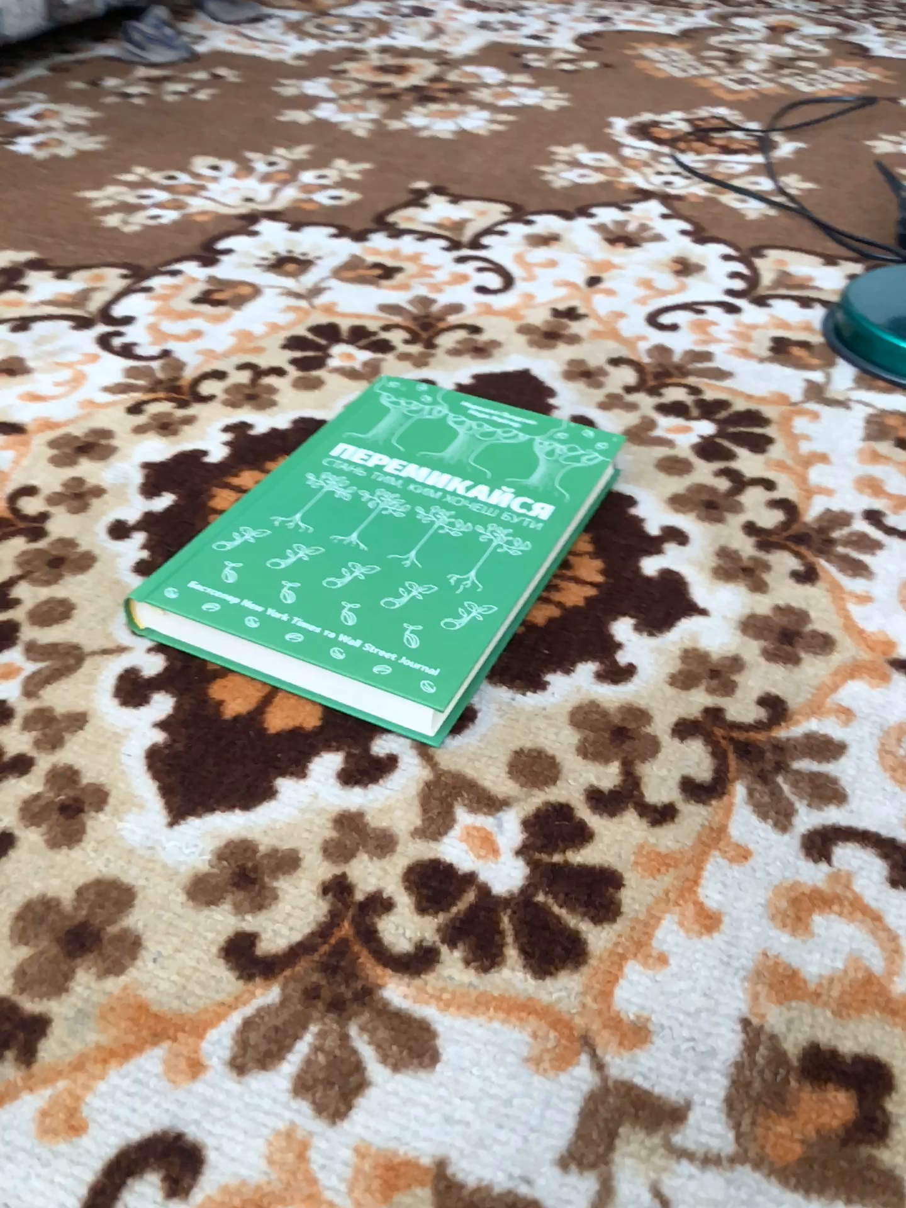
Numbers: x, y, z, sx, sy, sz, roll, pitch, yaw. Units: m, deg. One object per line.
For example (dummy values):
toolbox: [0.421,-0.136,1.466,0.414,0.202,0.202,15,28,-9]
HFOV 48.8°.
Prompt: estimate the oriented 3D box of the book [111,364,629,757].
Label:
book: [-0.023,-0.035,0.430,0.137,0.023,0.203,18,44,19]
